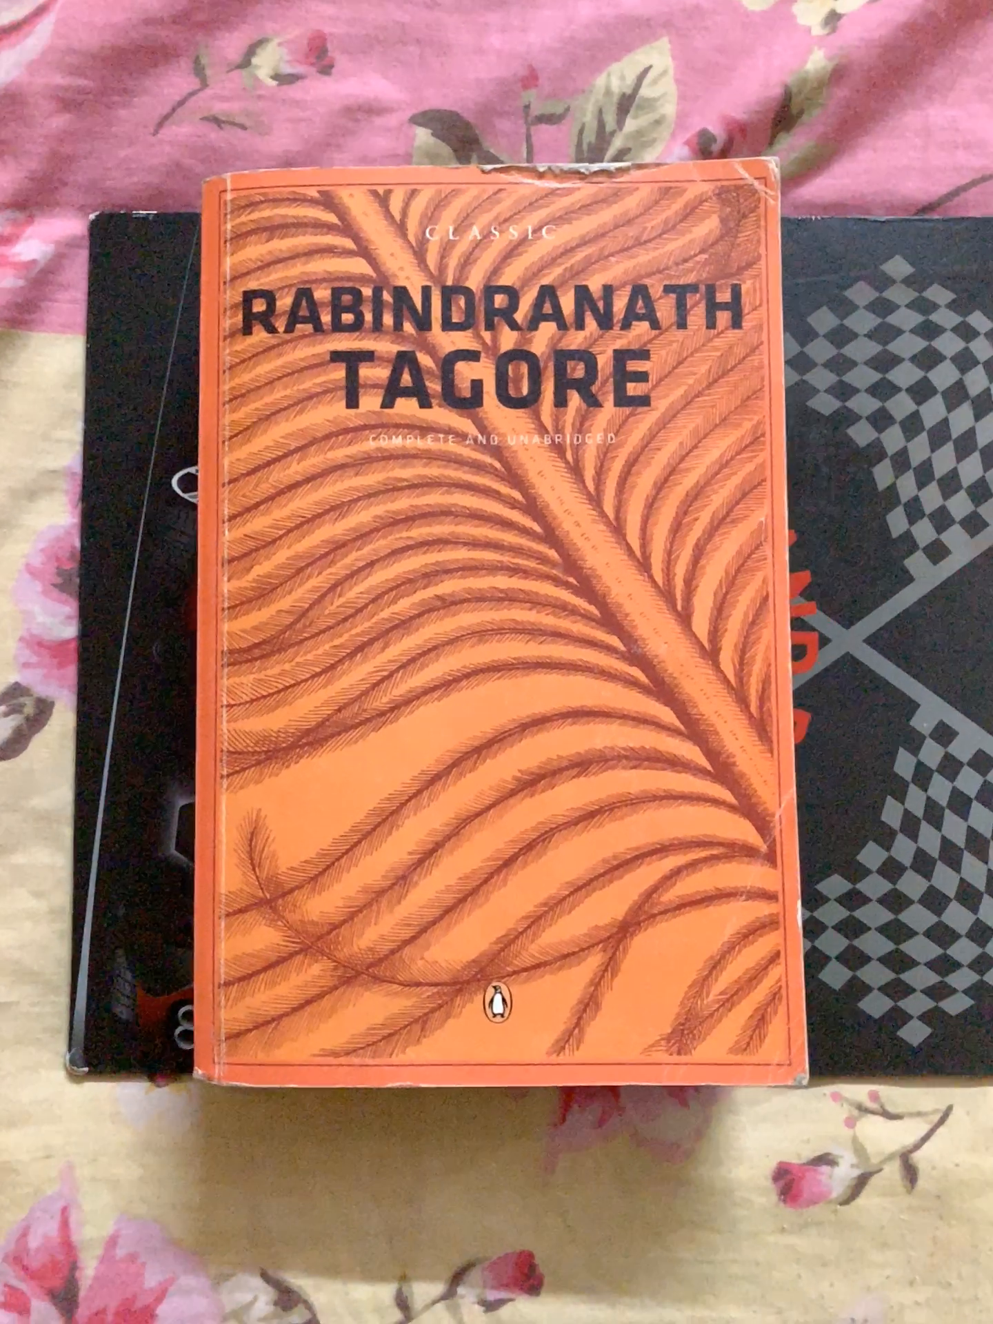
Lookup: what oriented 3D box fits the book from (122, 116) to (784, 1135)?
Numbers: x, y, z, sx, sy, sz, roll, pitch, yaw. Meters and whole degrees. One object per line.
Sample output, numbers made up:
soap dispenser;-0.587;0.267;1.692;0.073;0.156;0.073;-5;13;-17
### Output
book;-0.007;-0.009;0.242;0.130;0.060;0.210;1;84;0
